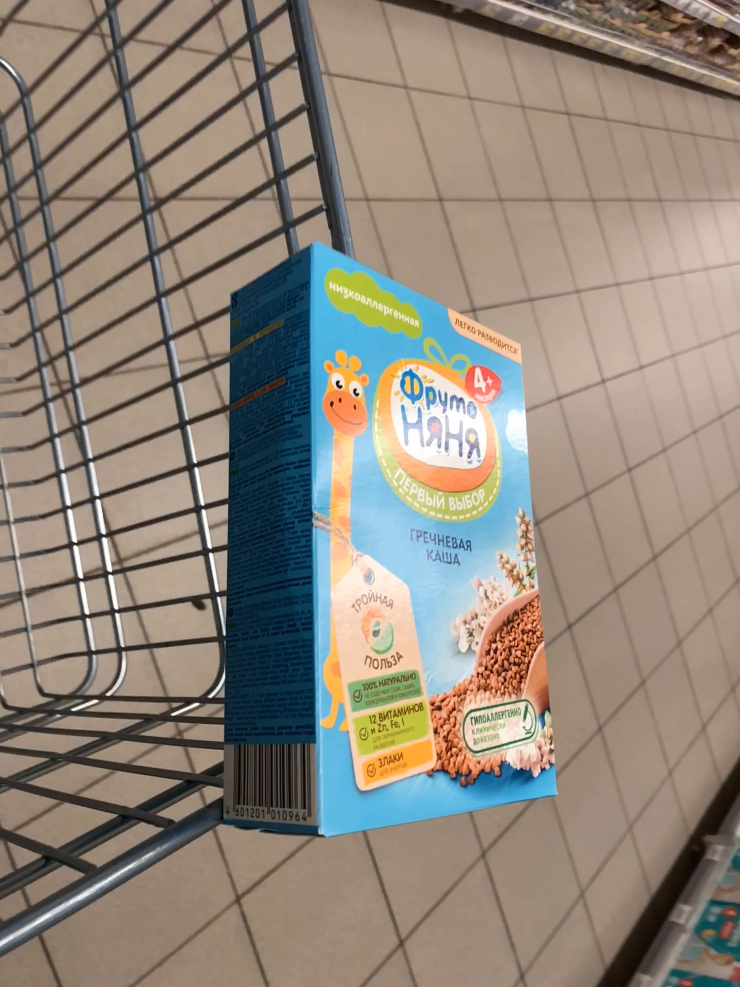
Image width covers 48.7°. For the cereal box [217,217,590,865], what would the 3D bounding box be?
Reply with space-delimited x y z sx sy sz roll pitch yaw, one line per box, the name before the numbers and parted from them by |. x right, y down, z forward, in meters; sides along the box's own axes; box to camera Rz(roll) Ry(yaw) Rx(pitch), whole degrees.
cereal box | 0.017 0.021 0.329 0.151 0.050 0.210 13 69 -44
